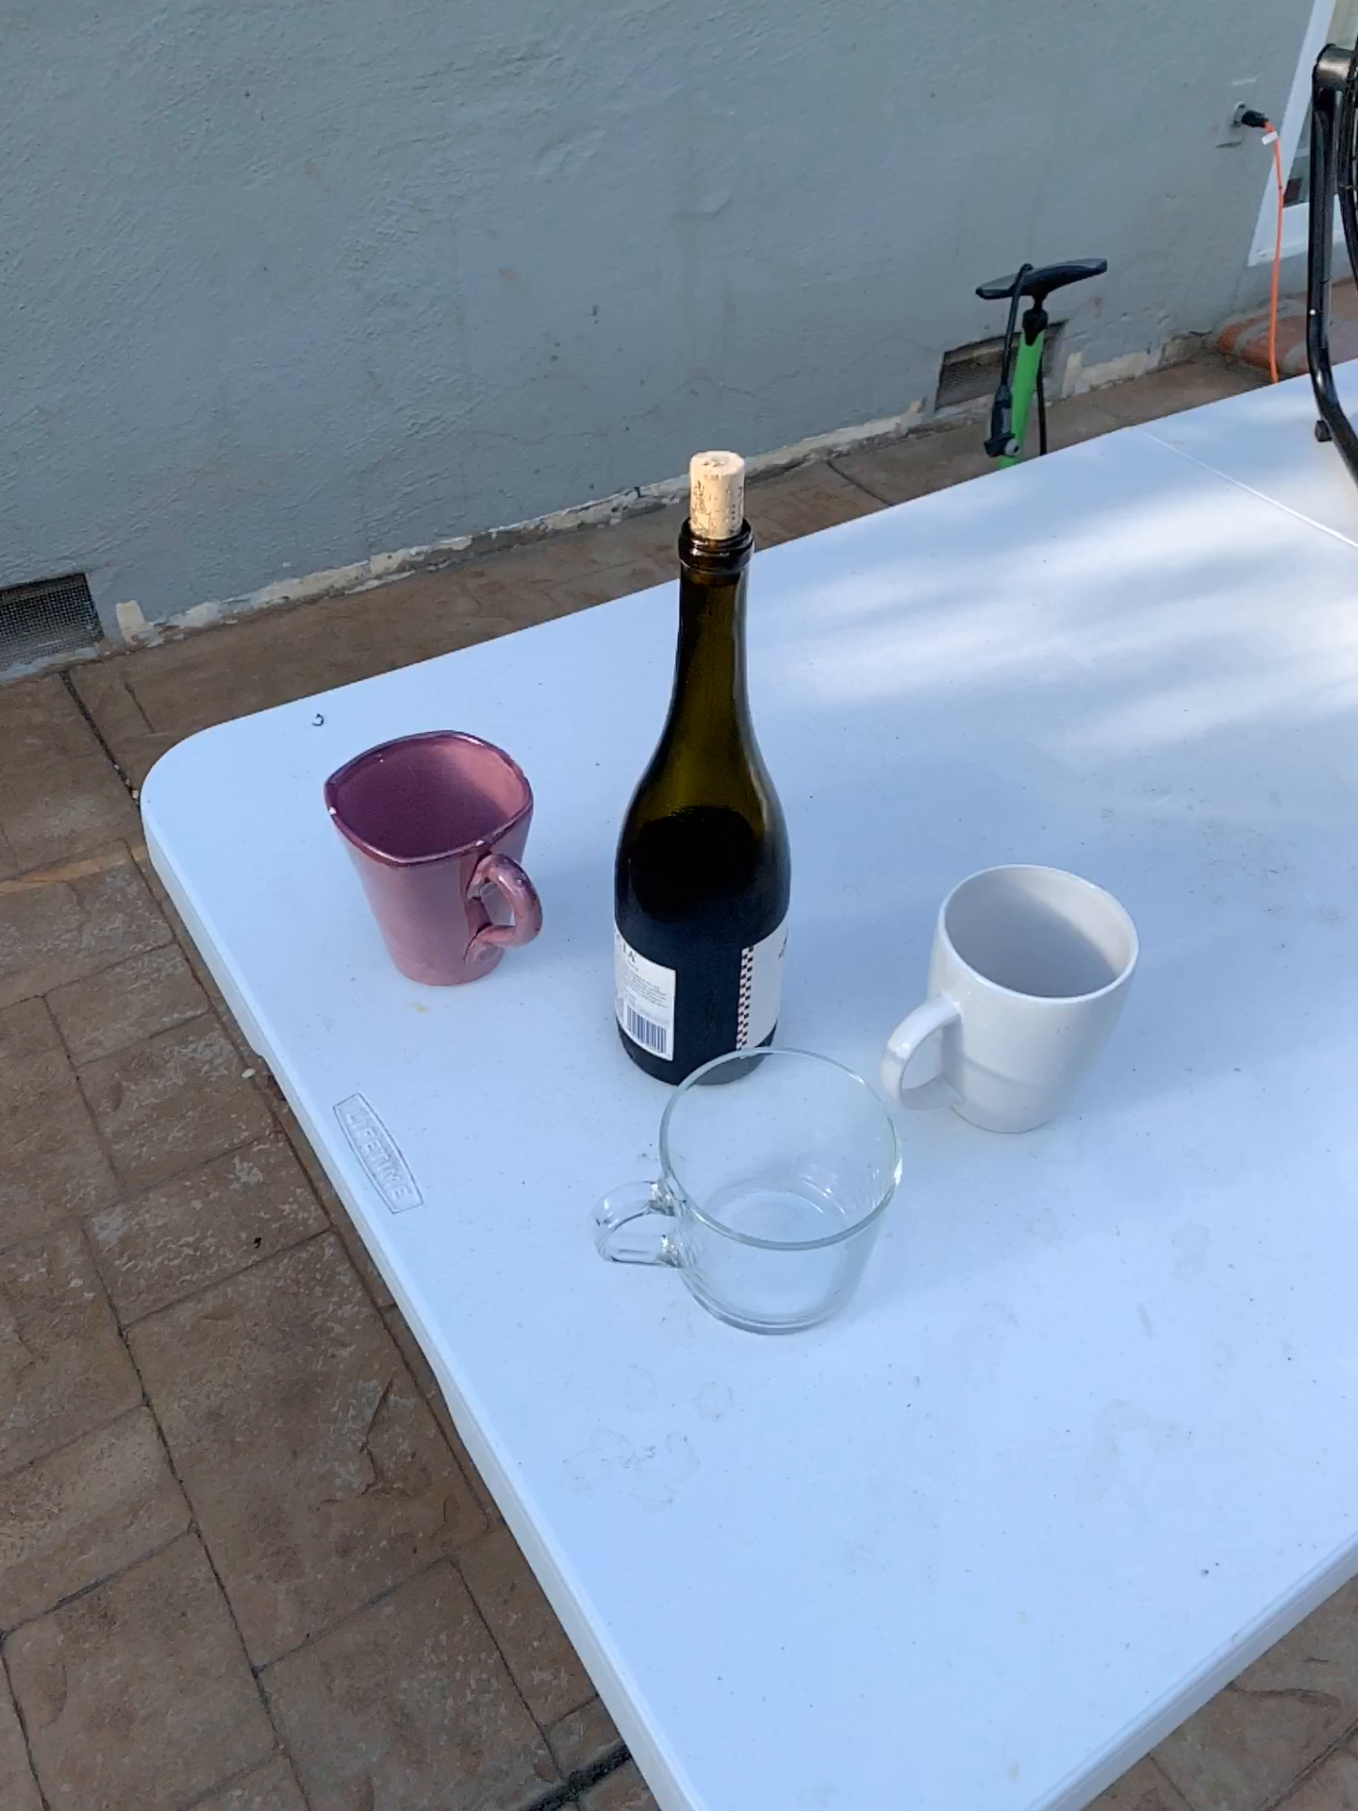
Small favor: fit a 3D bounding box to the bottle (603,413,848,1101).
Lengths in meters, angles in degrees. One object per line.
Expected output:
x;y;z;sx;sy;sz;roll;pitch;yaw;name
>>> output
0.015;-0.049;0.629;0.086;0.318;0.087;0;42;0;bottle
